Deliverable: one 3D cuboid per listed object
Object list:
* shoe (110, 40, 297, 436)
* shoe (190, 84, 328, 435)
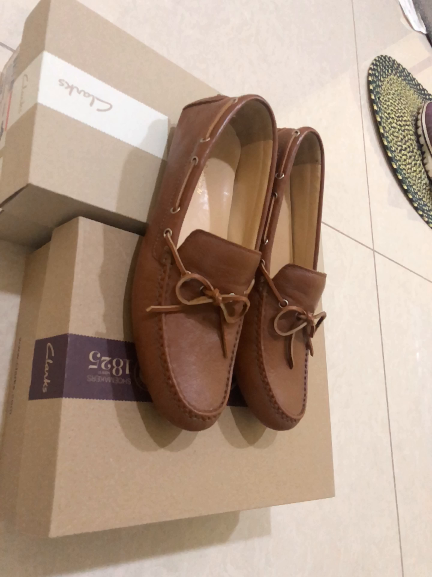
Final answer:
[{"bbox_3d":[-0.003,-0.036,0.375,0.080,0.080,0.280,20,70,-40],"label":"shoe"},{"bbox_3d":[0.042,-0.021,0.424,0.080,0.080,0.280,13,74,-42],"label":"shoe"}]
